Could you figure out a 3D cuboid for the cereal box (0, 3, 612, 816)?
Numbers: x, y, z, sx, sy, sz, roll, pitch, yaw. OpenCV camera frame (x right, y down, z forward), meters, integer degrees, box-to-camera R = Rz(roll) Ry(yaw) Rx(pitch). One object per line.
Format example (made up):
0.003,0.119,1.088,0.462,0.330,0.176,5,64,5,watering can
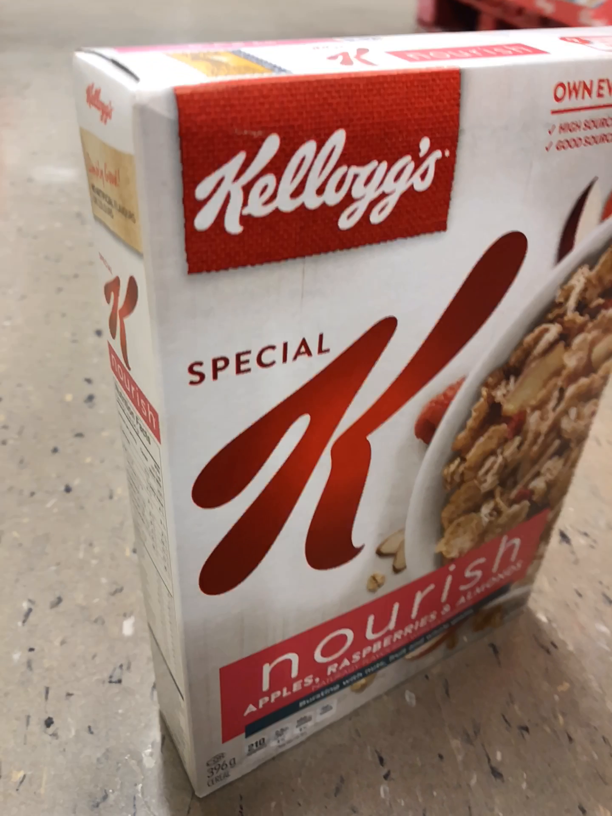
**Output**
0.027,0.017,0.259,0.210,0.289,0.050,-18,42,-28,cereal box
